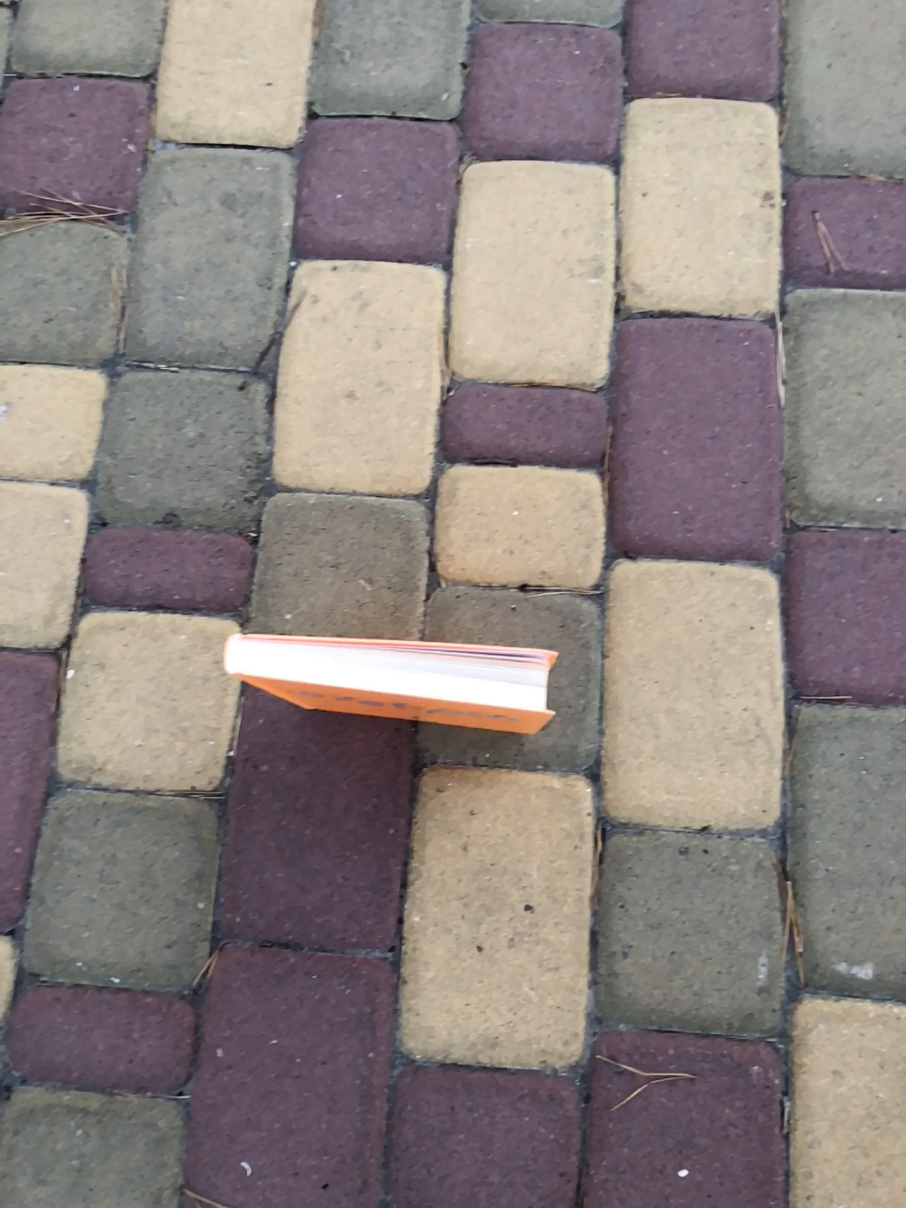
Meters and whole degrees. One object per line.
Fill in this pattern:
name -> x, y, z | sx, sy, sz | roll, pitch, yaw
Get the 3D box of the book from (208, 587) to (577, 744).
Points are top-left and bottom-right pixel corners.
book -> -0.024, 0.041, 0.549 | 0.164, 0.202, 0.040 | 7, 79, 3
